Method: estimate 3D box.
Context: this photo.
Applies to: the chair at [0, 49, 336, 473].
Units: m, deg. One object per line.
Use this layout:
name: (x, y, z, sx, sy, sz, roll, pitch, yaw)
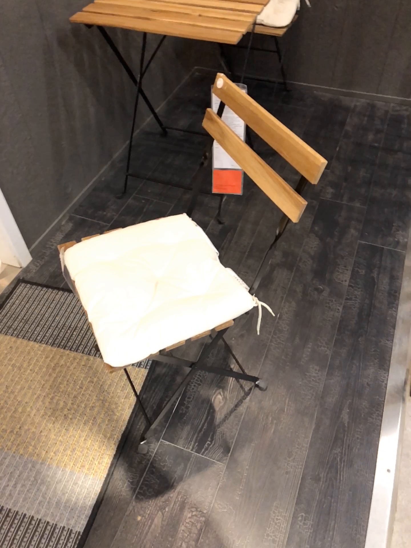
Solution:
chair: (-0.100, 0.006, 1.034, 0.460, 0.757, 0.451, -21, 51, -16)
